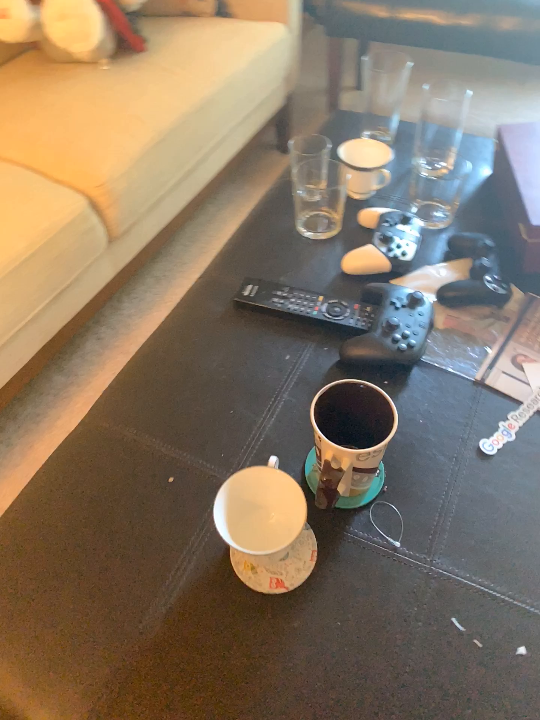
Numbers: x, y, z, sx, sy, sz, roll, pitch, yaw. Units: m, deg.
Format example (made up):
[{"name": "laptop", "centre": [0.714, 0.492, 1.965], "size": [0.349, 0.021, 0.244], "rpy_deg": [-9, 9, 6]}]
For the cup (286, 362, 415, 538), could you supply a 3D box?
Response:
[{"name": "cup", "centre": [0.081, 0.092, 0.571], "size": [0.080, 0.110, 0.120], "rpy_deg": [23, 55, 19]}]

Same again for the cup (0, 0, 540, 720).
[{"name": "cup", "centre": [0.081, 0.092, 0.571], "size": [0.297, 9.461, 39.359], "rpy_deg": [22, 55, 19]}]

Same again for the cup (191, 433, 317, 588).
[{"name": "cup", "centre": [-0.012, 0.147, 0.549], "size": [0.090, 0.070, 0.110], "rpy_deg": [12, 52, 11]}]

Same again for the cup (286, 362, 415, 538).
[{"name": "cup", "centre": [0.081, 0.092, 0.571], "size": [0.080, 0.110, 0.120], "rpy_deg": [23, 55, 19]}]
